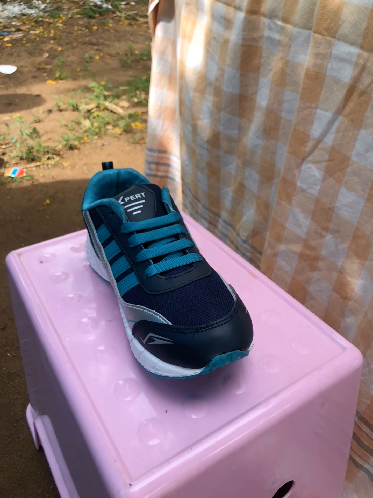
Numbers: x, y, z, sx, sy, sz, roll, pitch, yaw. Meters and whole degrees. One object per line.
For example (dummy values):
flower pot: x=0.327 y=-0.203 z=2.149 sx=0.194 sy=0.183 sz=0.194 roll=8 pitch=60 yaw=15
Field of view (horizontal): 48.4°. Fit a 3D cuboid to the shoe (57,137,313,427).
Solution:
shoe: x=-0.025 y=0.002 z=0.396 sx=0.110 sy=0.109 sz=0.271 roll=-17 pitch=40 yaw=-23
